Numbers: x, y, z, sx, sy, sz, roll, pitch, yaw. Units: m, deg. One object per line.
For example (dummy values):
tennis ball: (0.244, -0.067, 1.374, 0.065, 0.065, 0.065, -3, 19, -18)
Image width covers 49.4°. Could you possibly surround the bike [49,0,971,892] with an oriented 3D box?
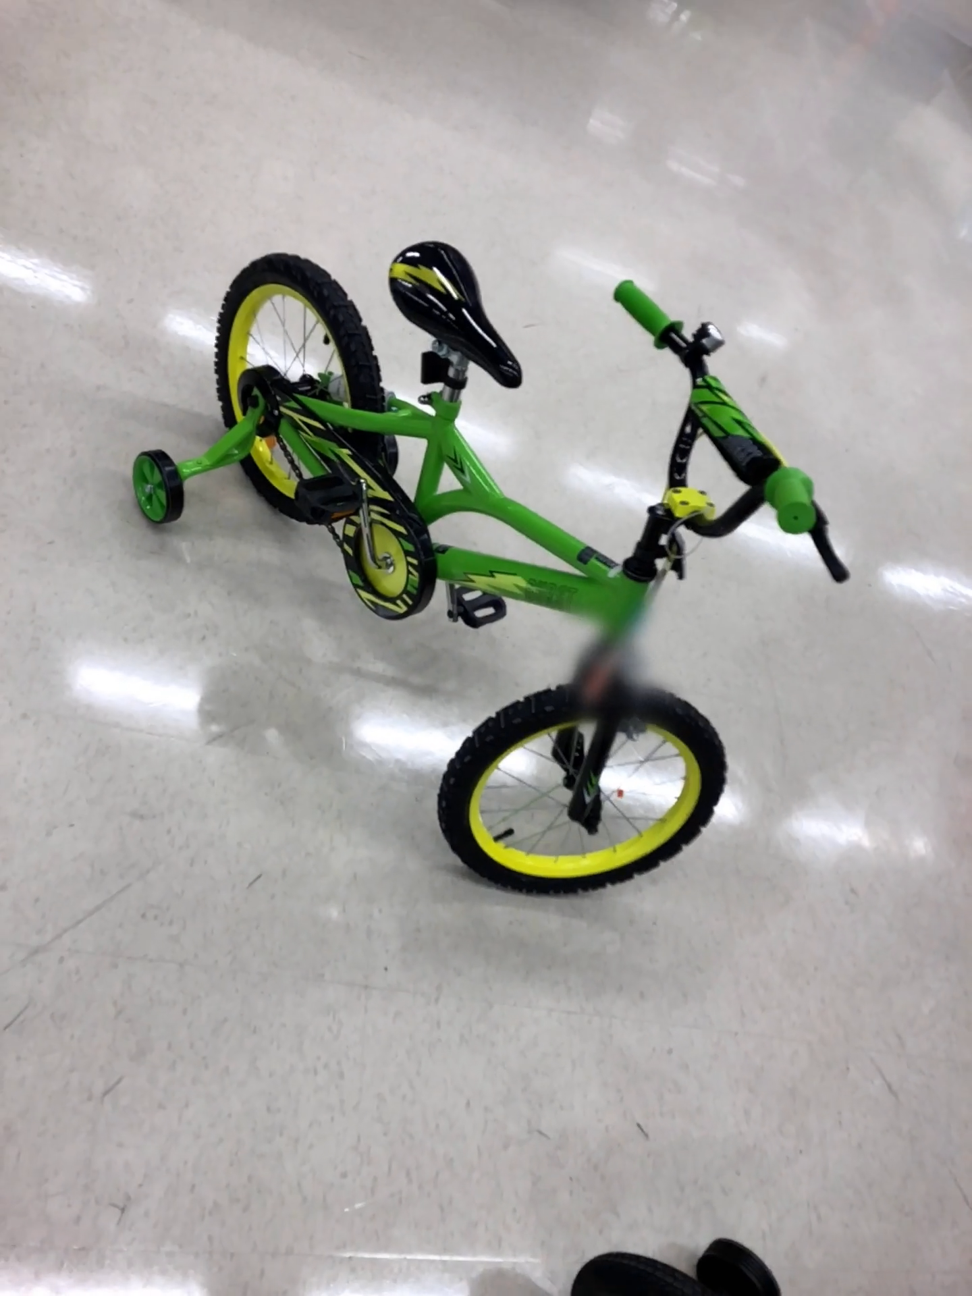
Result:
bike: (0.083, -0.322, 1.368, 1.044, 0.807, 0.554, 45, 48, 12)
